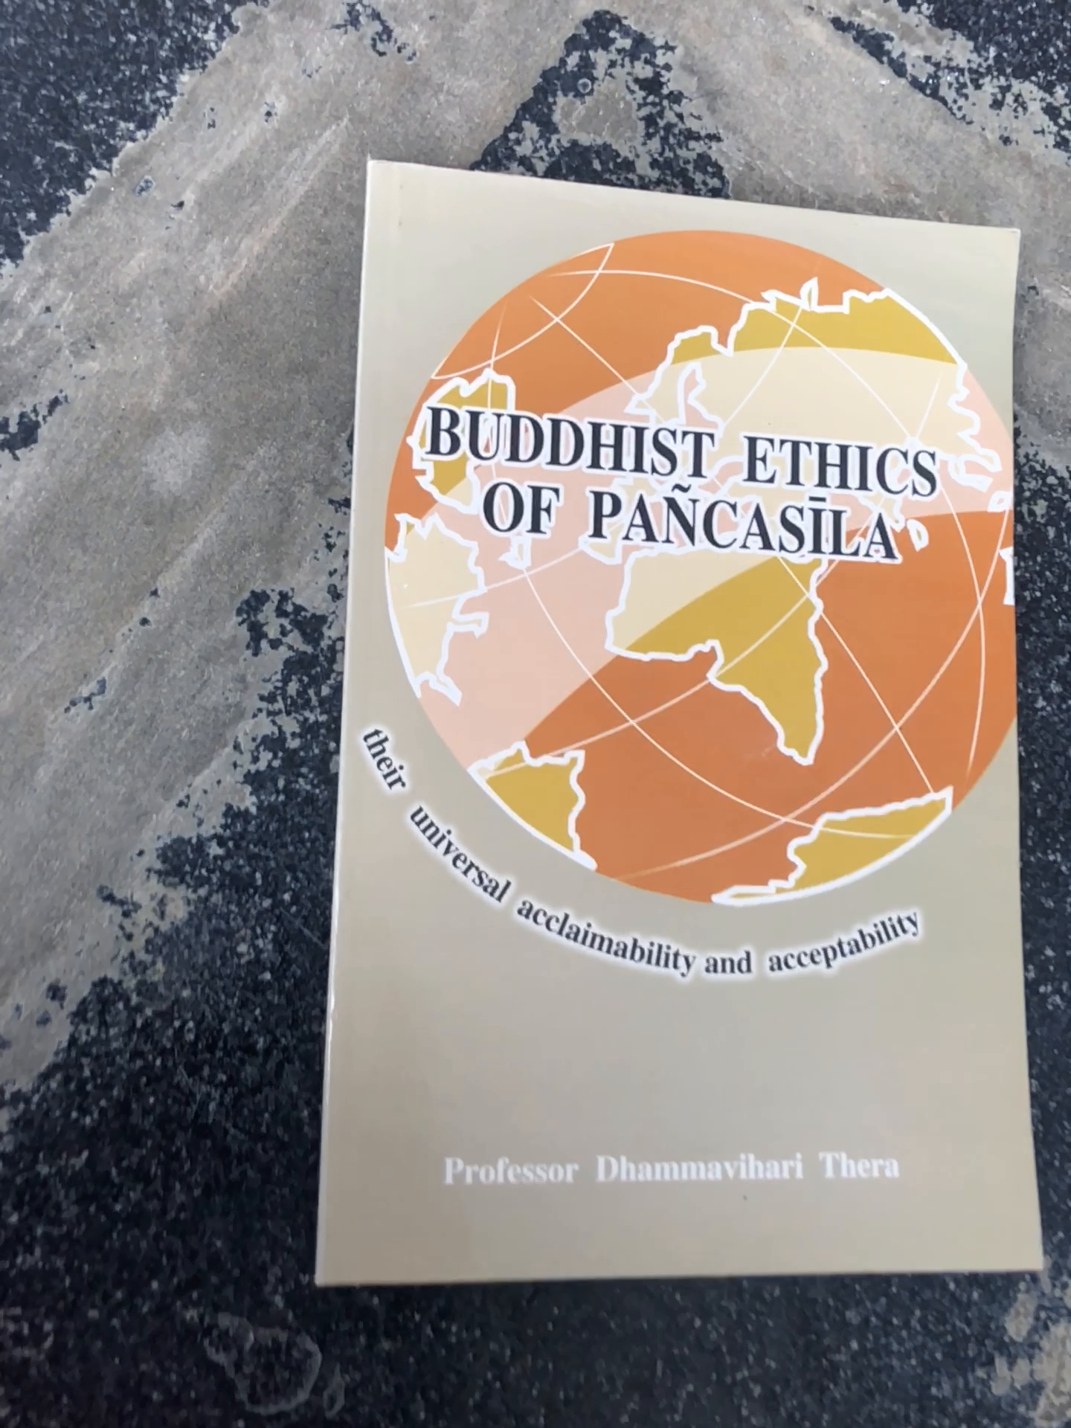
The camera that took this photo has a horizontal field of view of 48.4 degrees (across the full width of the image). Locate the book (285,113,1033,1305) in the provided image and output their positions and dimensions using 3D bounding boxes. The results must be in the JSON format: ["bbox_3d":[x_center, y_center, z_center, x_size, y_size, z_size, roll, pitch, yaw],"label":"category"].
[{"bbox_3d":[0.027,-0.005,0.235,0.140,0.010,0.220,2,82,-10],"label":"book"}]
